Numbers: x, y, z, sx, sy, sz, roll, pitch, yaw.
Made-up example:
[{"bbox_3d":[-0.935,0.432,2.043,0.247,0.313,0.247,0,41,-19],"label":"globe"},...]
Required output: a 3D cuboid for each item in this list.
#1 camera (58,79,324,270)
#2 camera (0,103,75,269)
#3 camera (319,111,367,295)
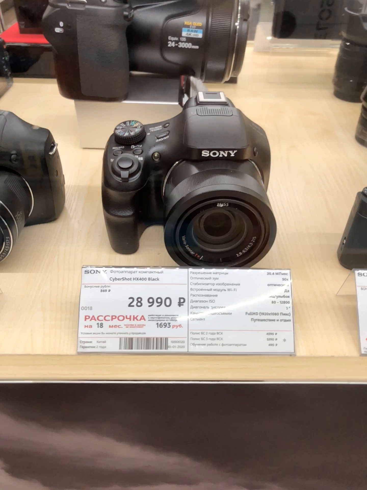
[{"bbox_3d":[0.002,-0.050,0.277,0.137,0.086,0.104,0,40,-2],"label":"camera"},{"bbox_3d":[-0.151,-0.043,0.282,0.122,0.073,0.097,0,40,-2],"label":"camera"},{"bbox_3d":[0.176,-0.025,0.280,0.125,0.113,0.057,0,40,-2],"label":"camera"}]
